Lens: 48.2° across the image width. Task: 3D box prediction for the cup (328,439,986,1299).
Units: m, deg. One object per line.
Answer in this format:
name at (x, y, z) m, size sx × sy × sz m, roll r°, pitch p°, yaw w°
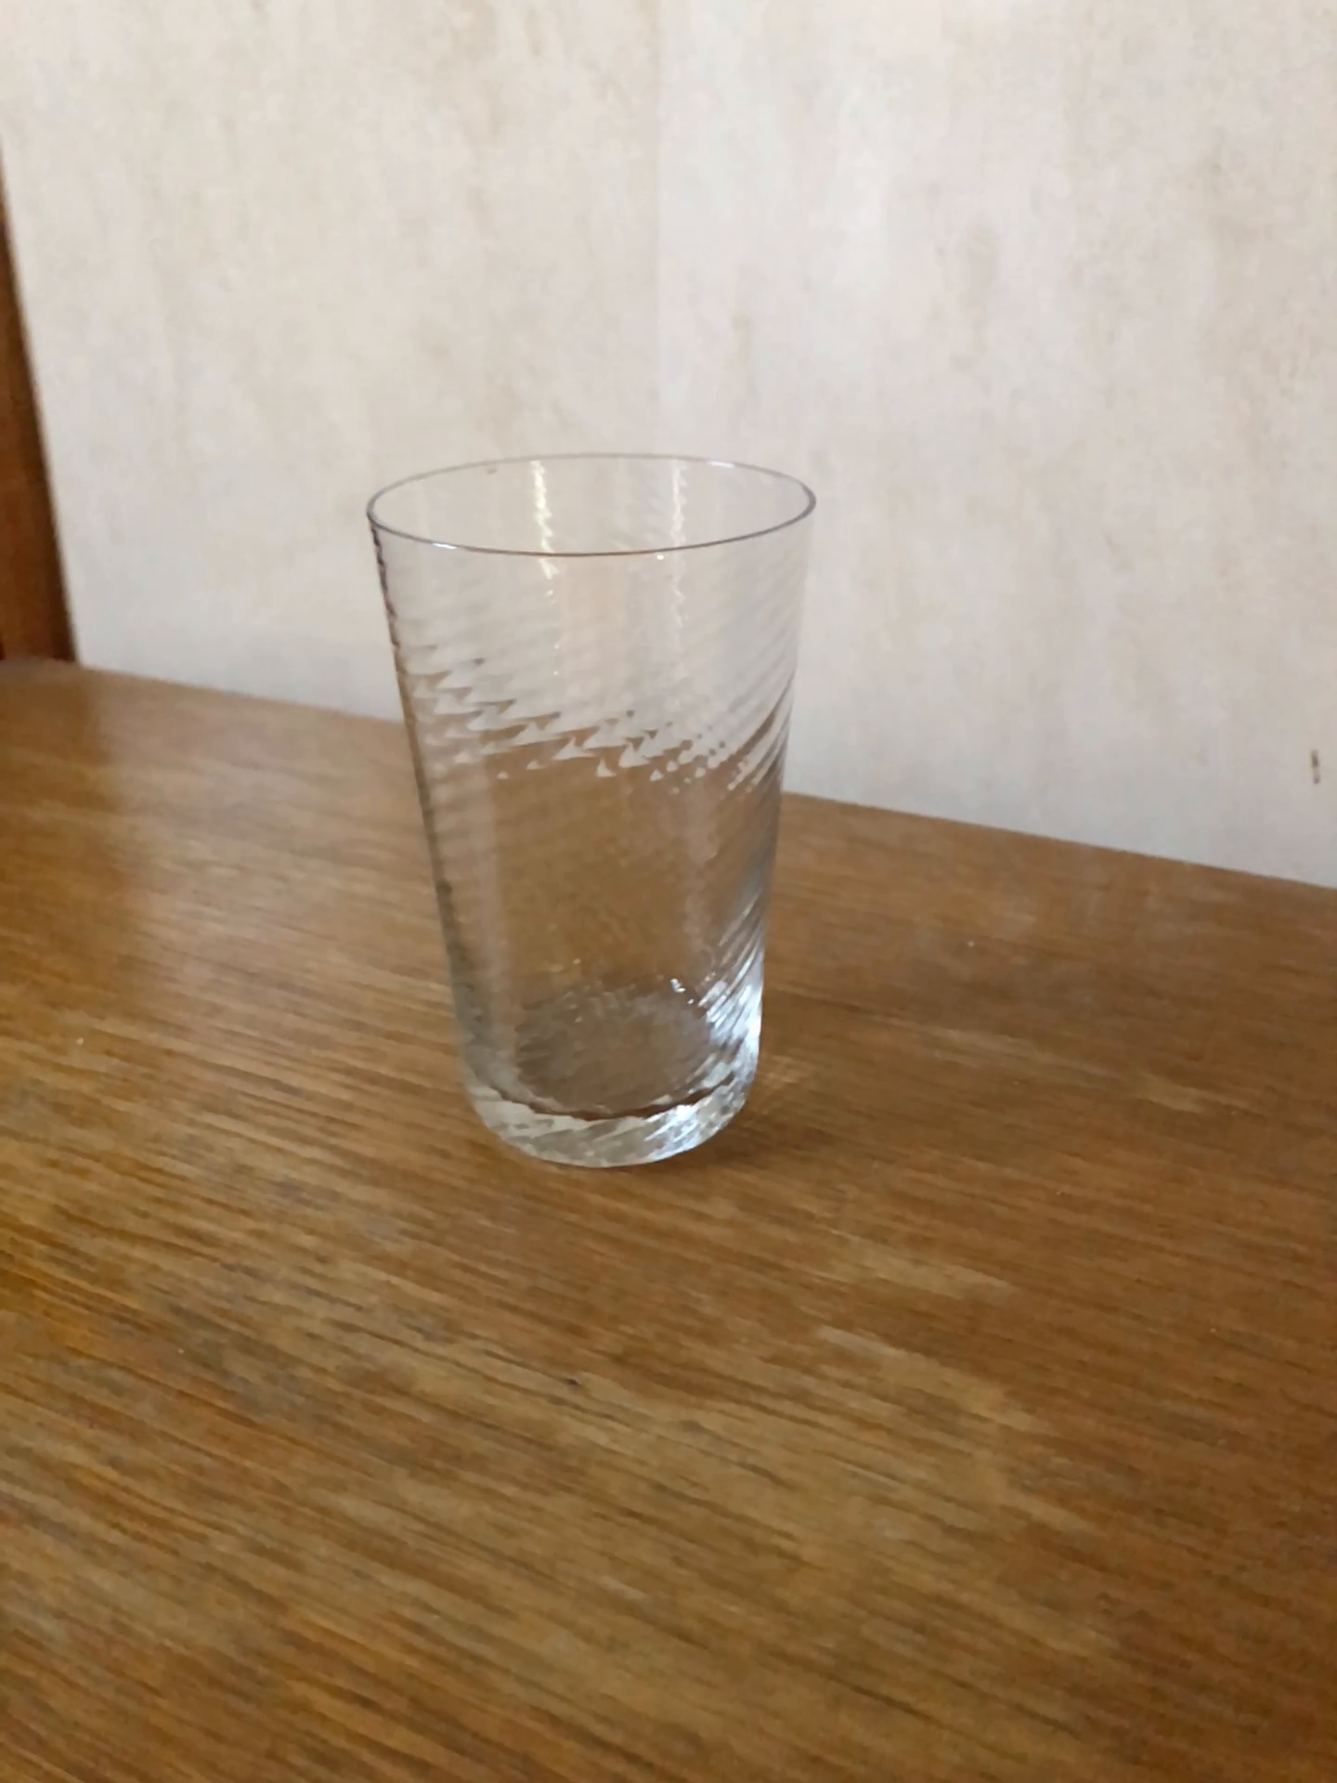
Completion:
cup at (-0.002, -0.011, 0.267) m, size 0.080 × 0.119 × 0.070 m, roll -22°, pitch 33°, yaw -39°
